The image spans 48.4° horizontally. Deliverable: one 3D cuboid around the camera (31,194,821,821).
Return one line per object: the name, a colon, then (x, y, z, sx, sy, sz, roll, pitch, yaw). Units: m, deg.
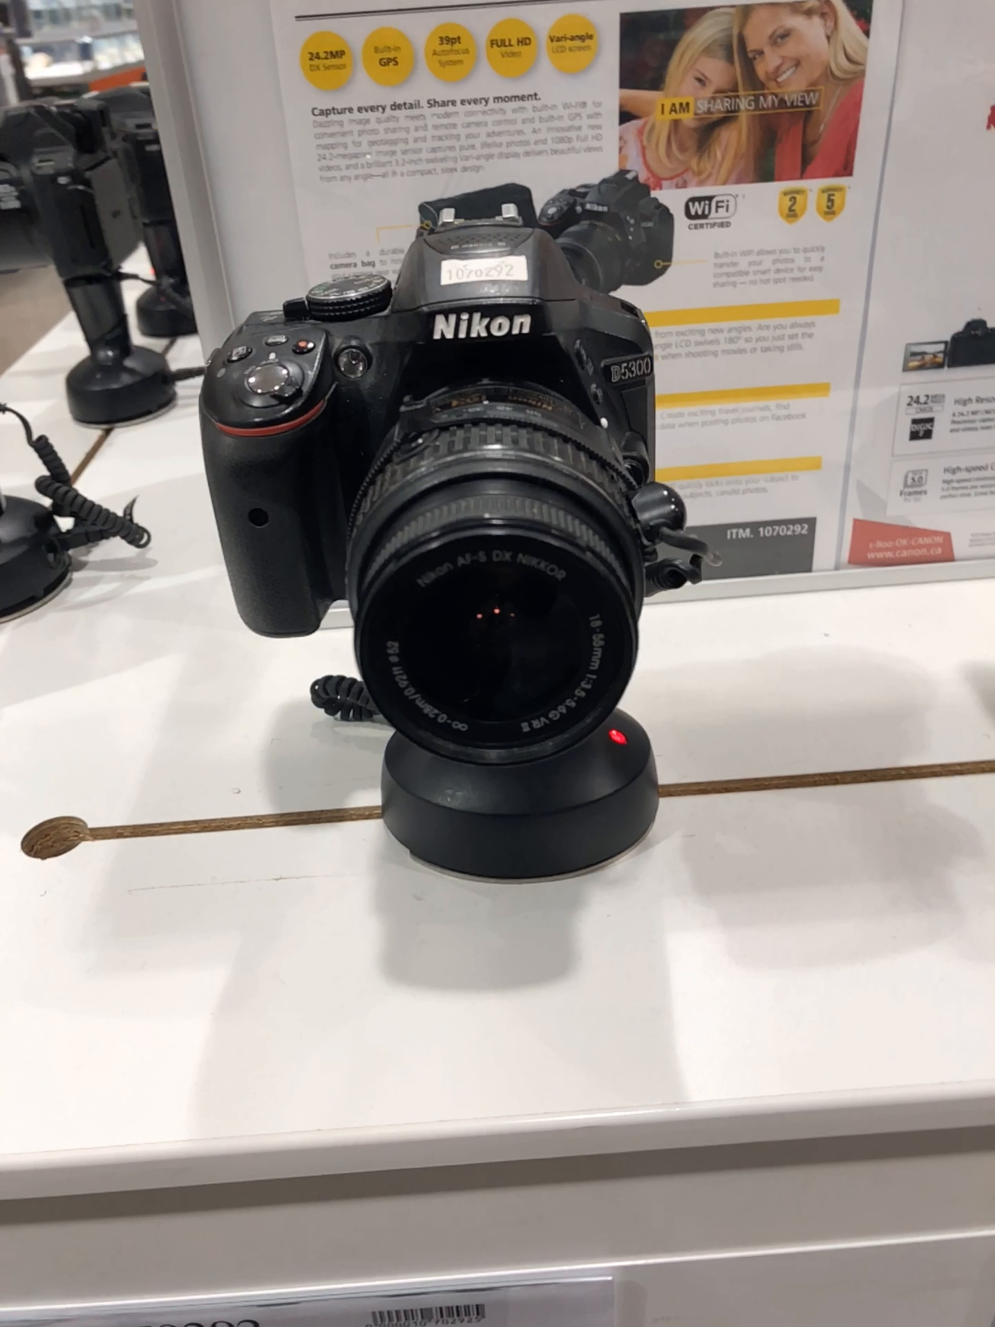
camera: (-0.014, -0.048, 0.265, 0.130, 0.090, 0.141, -5, 31, -2)
